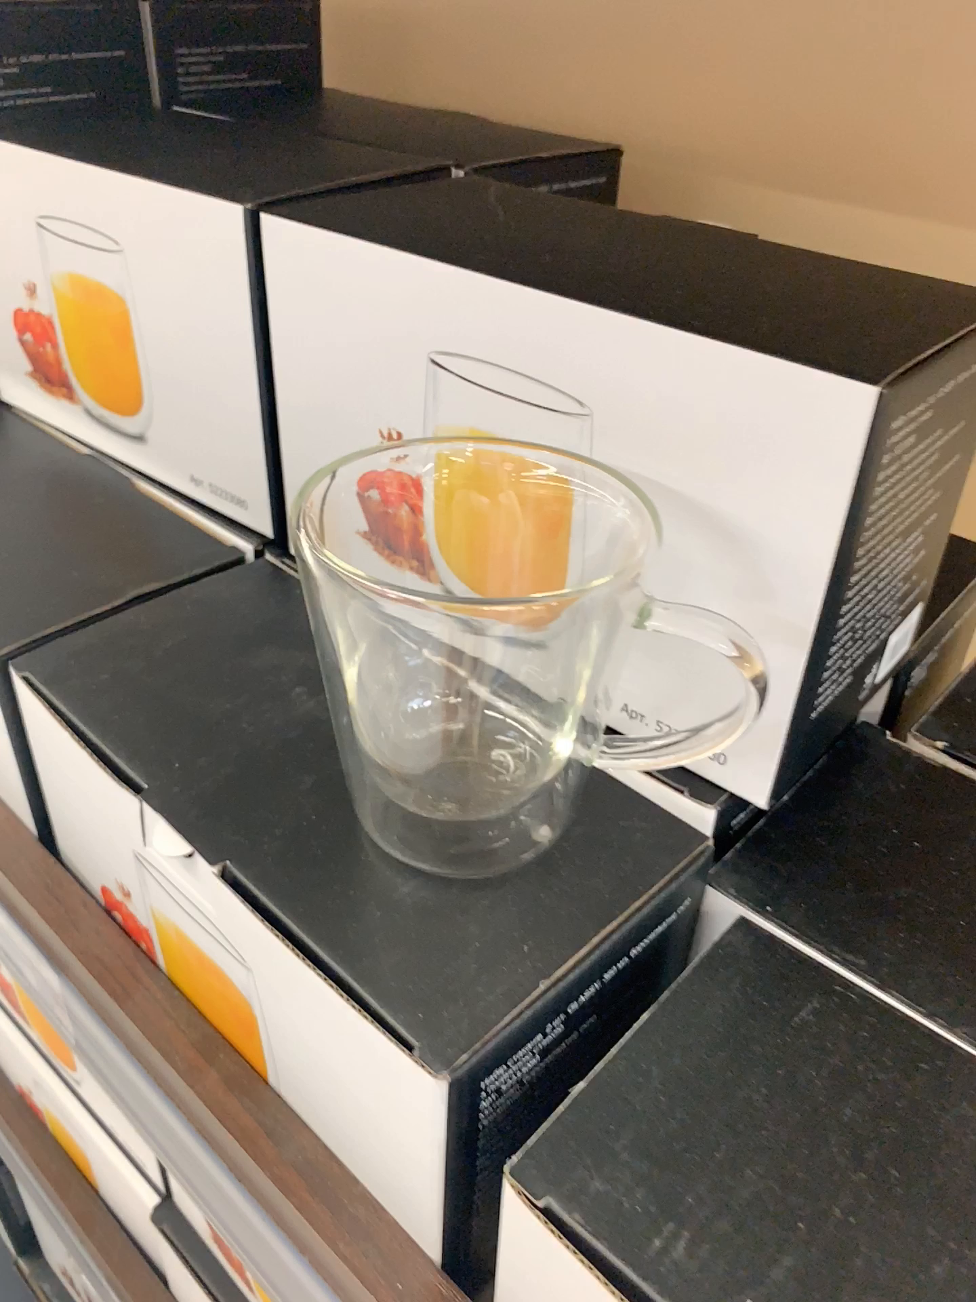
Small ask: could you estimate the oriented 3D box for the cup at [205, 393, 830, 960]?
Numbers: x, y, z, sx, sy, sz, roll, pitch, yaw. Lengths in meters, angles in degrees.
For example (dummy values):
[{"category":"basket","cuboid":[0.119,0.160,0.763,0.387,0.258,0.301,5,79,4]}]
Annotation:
[{"category":"cup","cuboid":[0.007,0.003,0.230,0.110,0.090,0.070,8,36,7]}]
